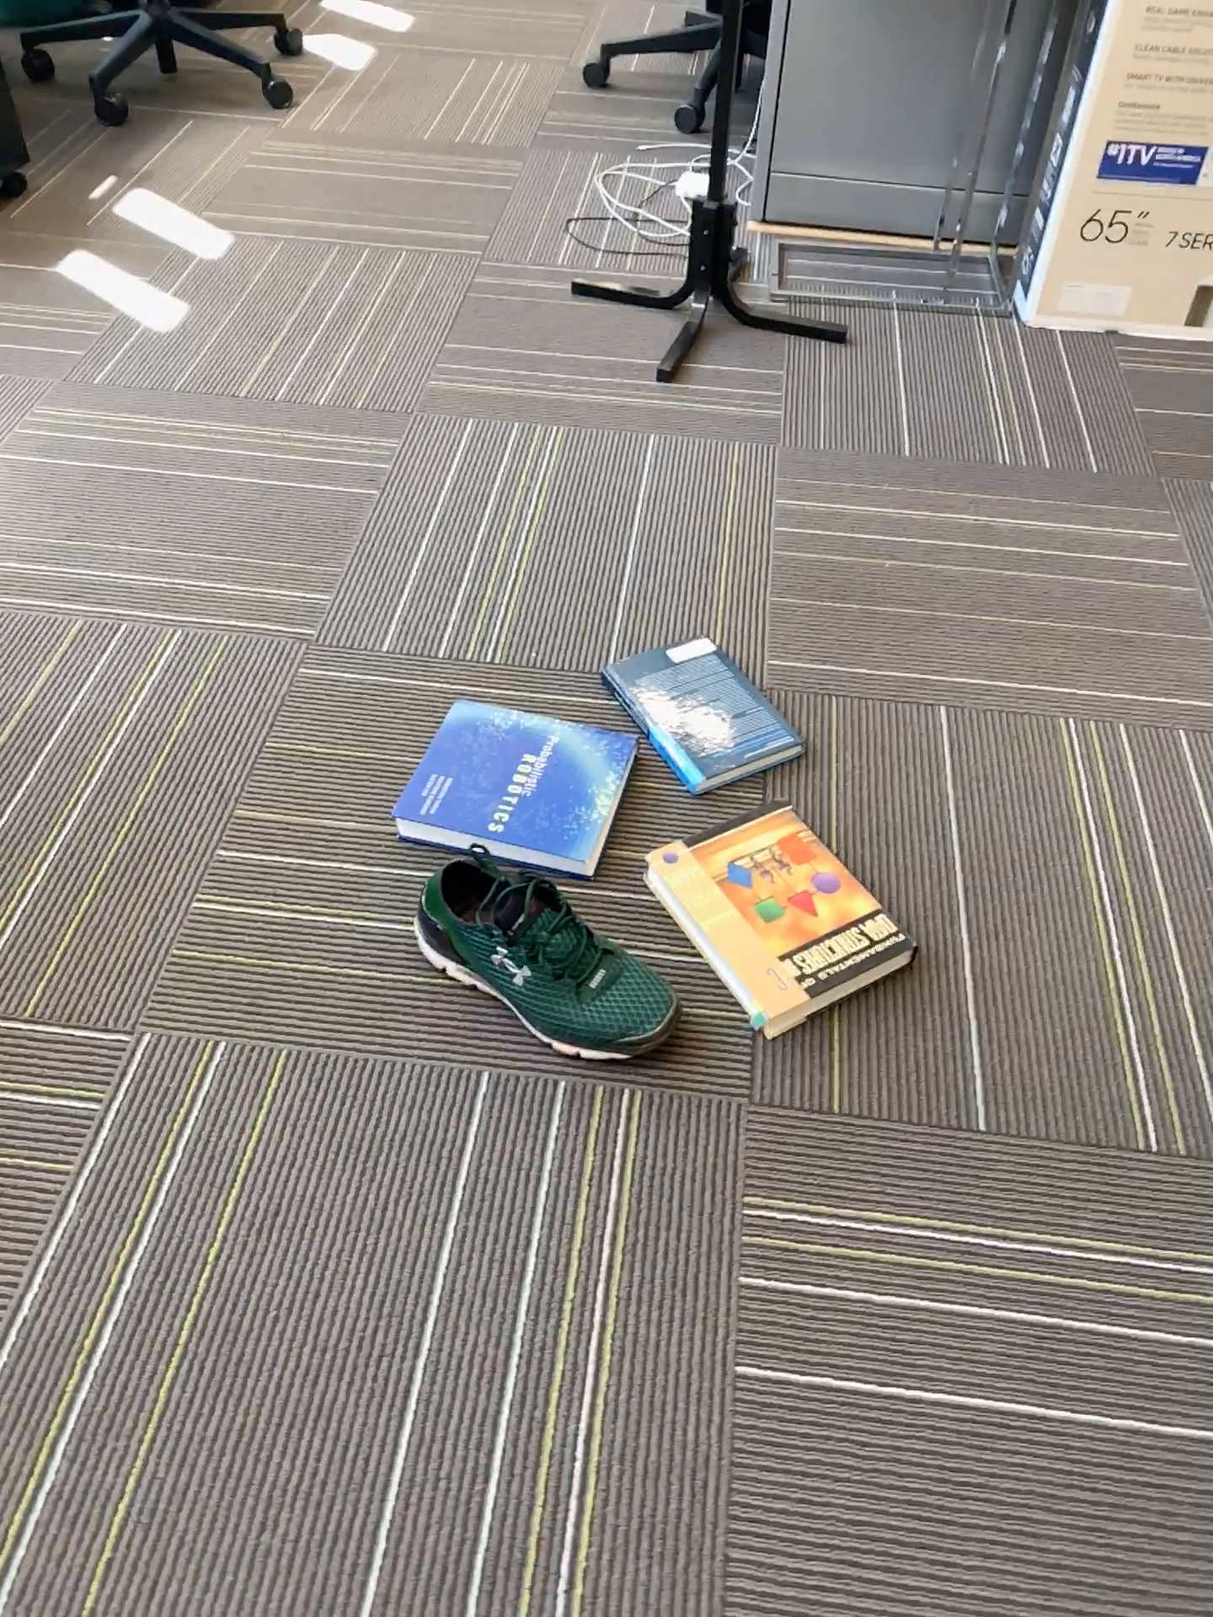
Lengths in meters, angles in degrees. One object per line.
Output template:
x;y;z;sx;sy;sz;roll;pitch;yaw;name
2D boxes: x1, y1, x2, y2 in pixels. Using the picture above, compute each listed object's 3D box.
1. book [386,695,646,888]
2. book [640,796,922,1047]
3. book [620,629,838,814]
-0.097;-0.025;1.410;0.242;0.040;0.205;12;48;9;book
0.178;0.110;1.303;0.184;0.040;0.243;-22;52;-21;book
0.157;-0.120;1.627;0.177;0.040;0.248;-21;54;-21;book
